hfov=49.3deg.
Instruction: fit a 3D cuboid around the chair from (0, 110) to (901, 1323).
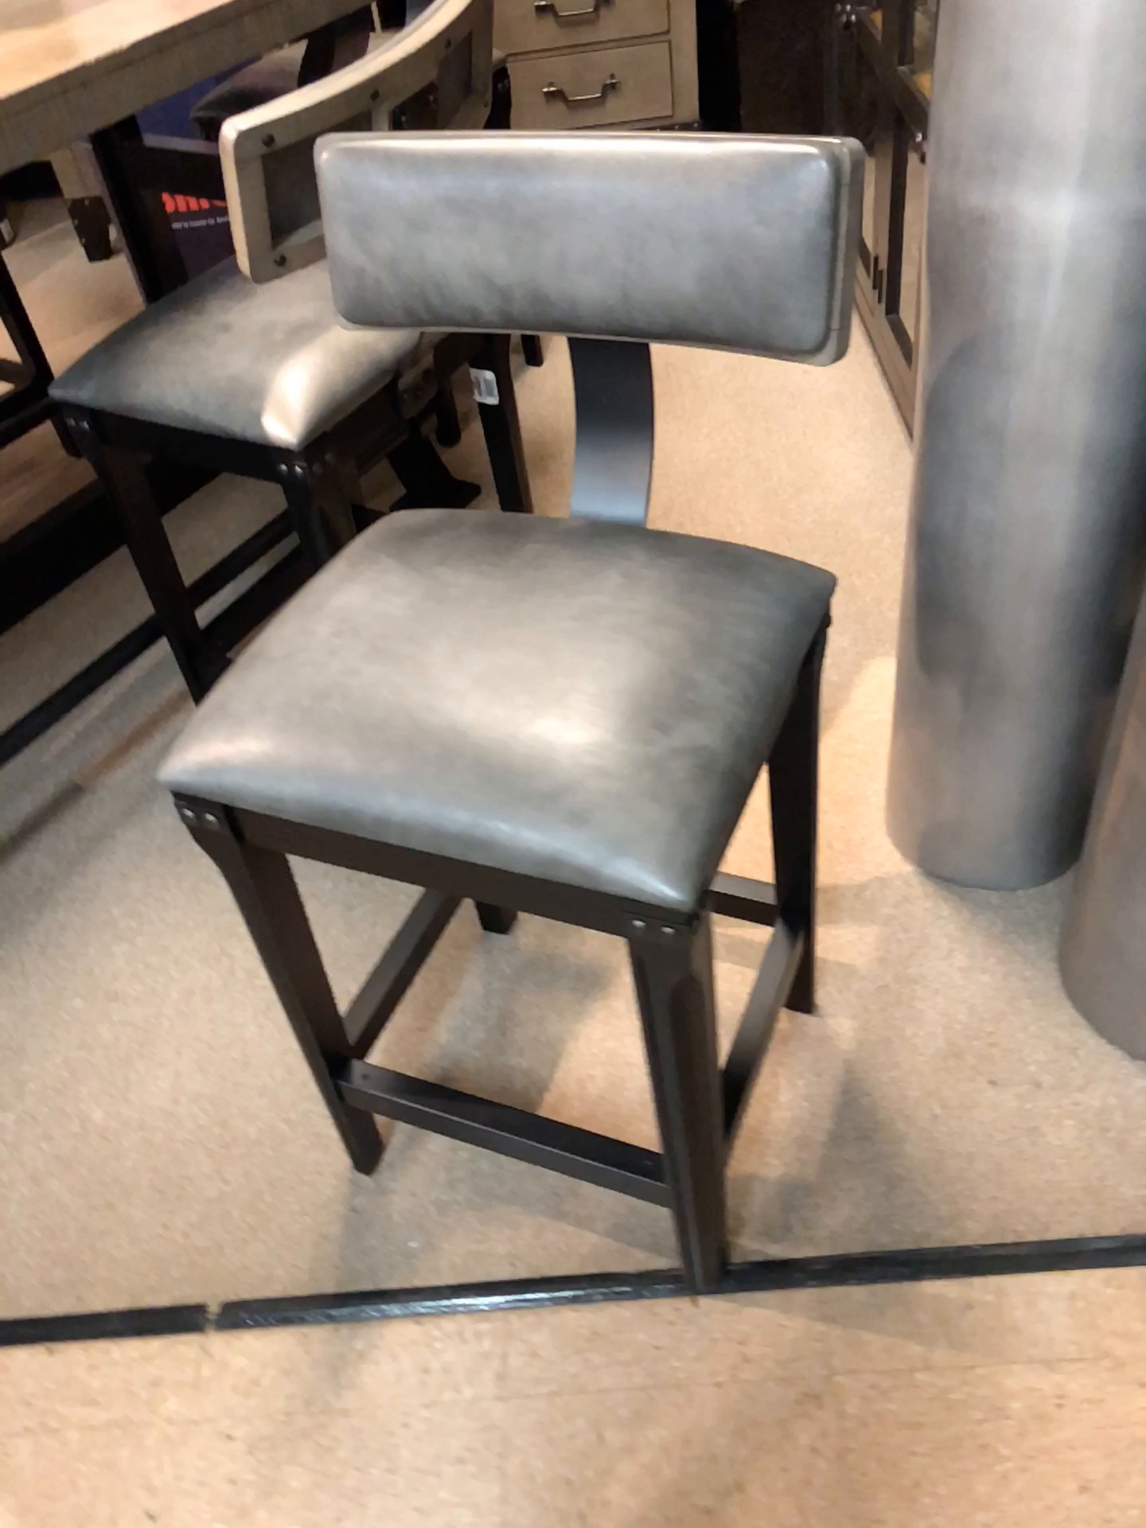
[{"bbox_3d":[-0.024,-0.003,1.047,0.441,0.864,0.462,11,47,20],"label":"chair"}]
